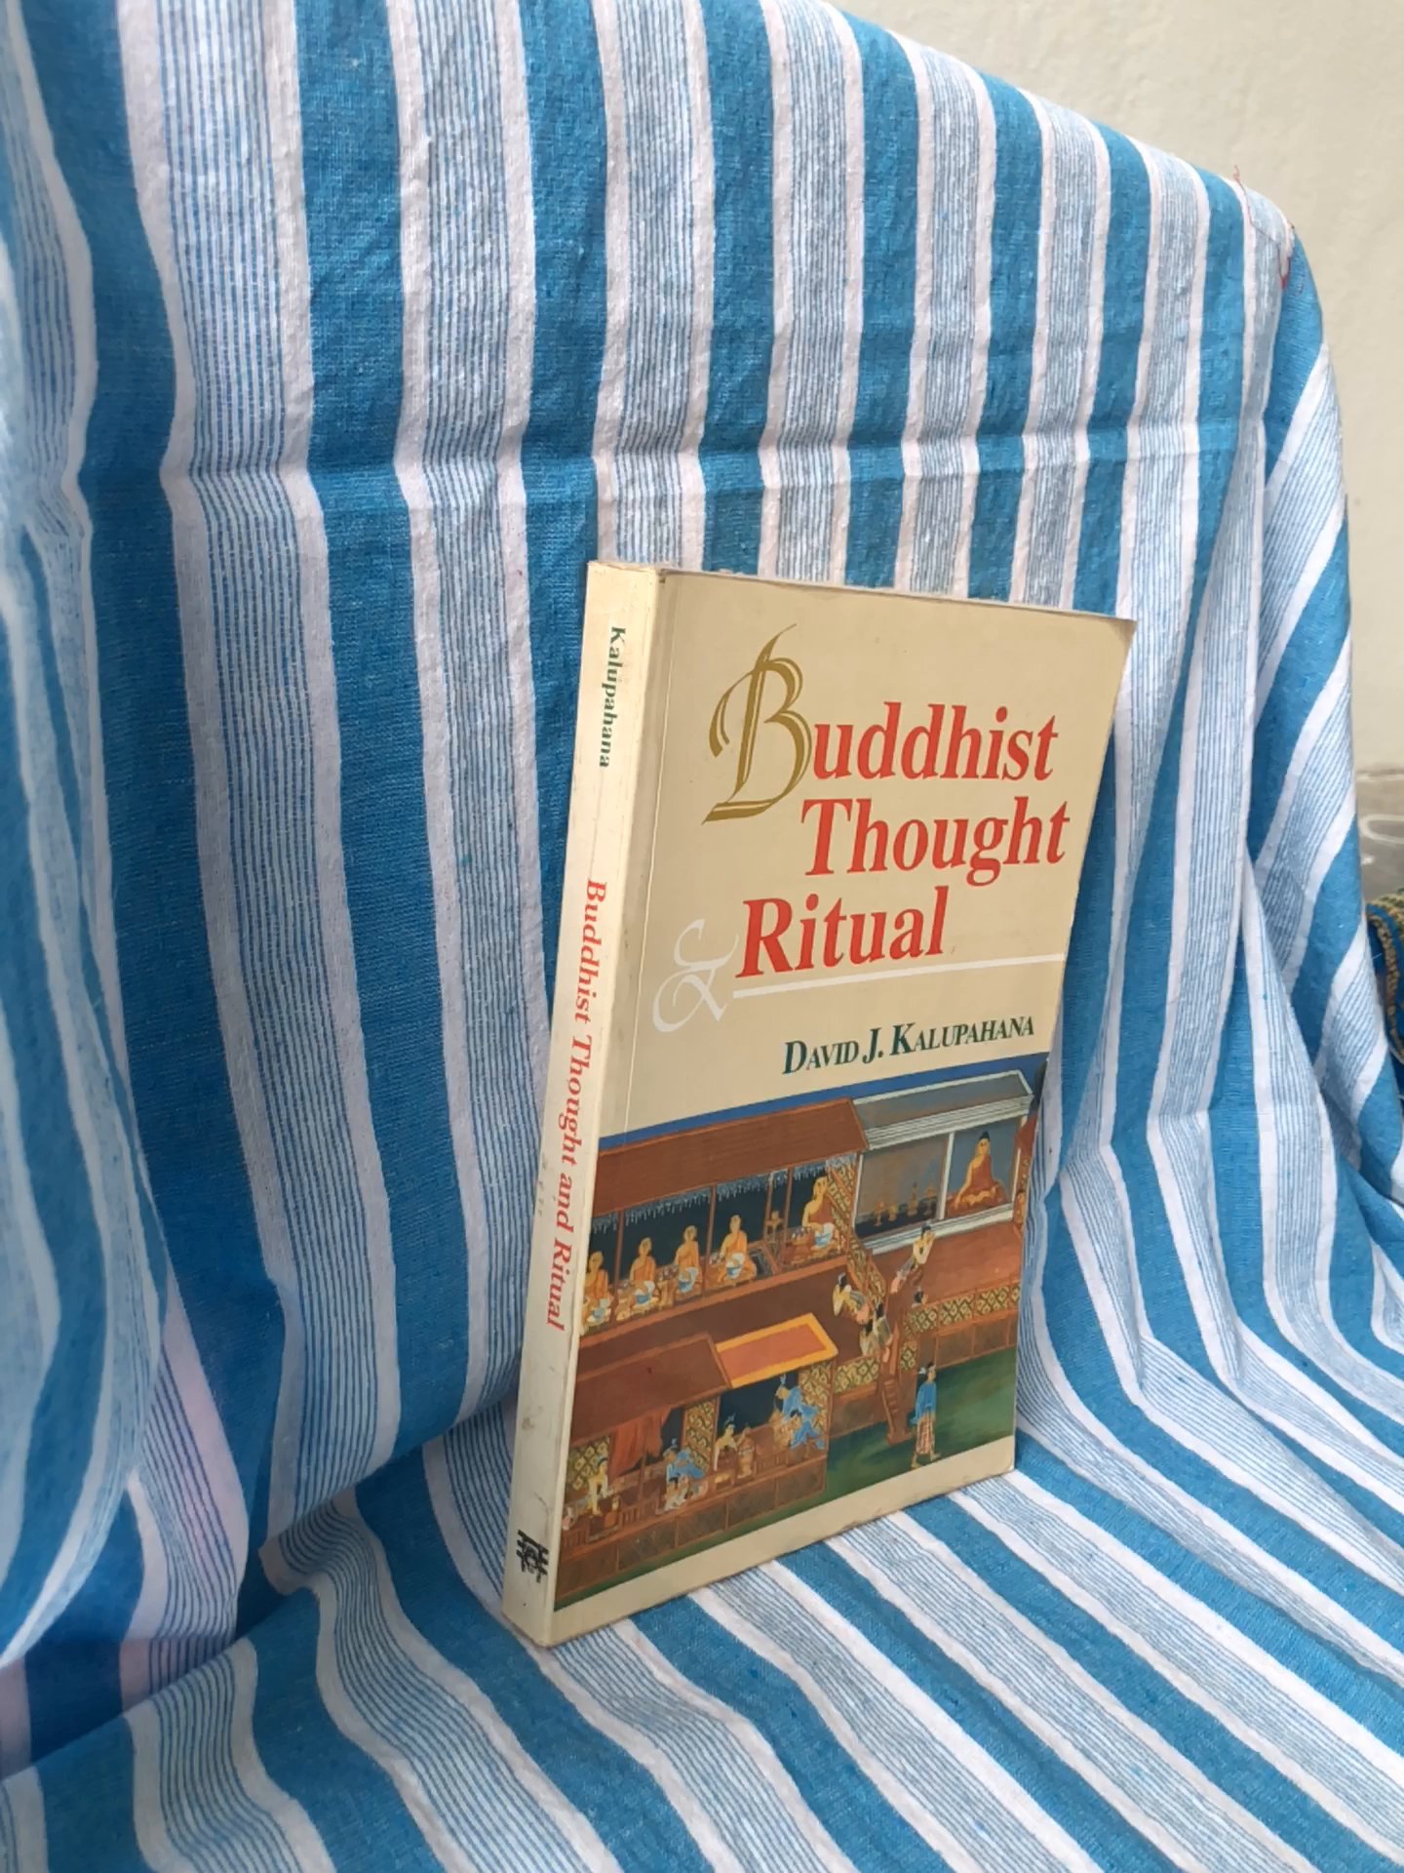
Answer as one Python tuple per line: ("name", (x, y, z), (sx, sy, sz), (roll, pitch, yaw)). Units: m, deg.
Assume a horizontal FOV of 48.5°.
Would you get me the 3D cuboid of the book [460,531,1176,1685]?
("book", (0.028, 0.034, 0.335), (0.151, 0.219, 0.020), (-4, 17, -39))
